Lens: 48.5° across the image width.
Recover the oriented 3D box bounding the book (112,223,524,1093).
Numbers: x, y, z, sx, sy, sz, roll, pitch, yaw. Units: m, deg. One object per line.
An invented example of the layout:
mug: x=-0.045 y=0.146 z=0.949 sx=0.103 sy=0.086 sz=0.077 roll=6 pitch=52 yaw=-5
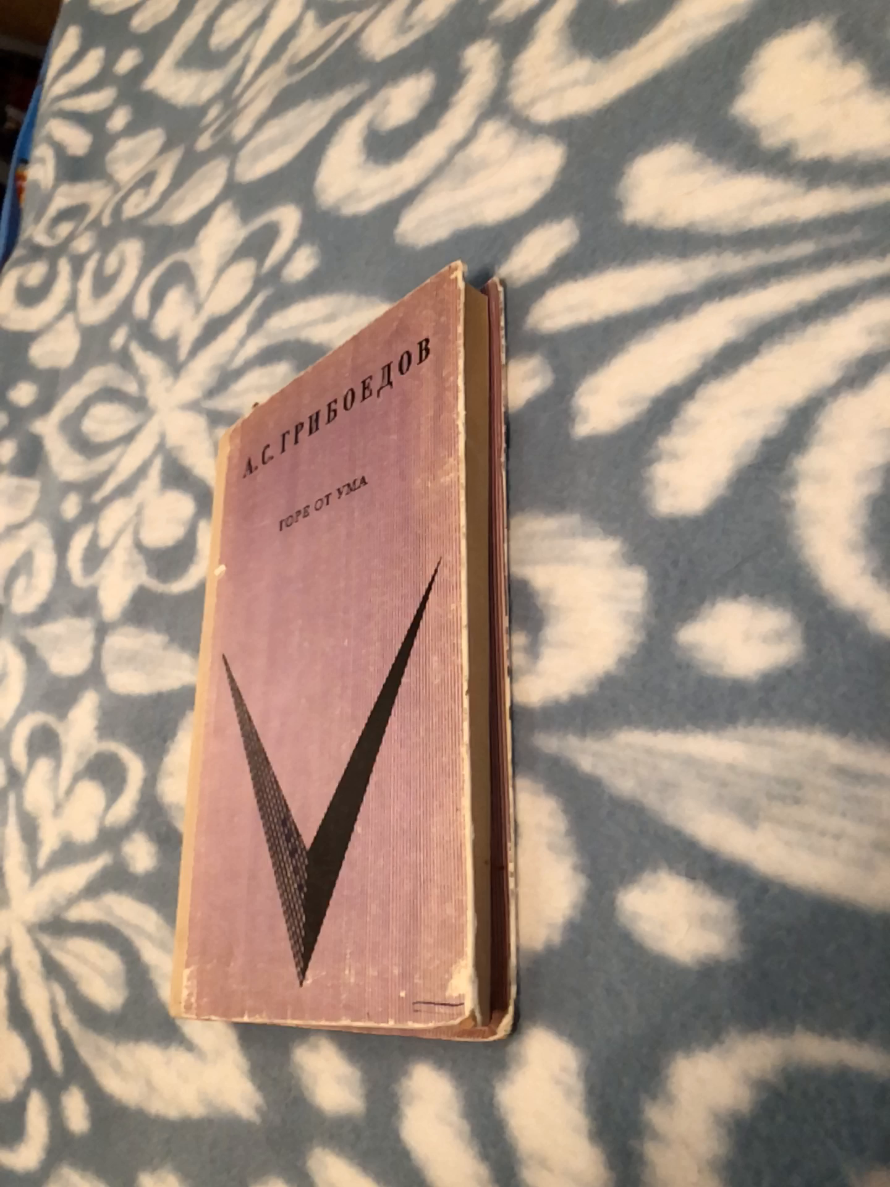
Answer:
book: x=-0.043 y=0.021 z=0.298 sx=0.159 sy=0.020 sz=0.218 roll=-22 pitch=60 yaw=44
